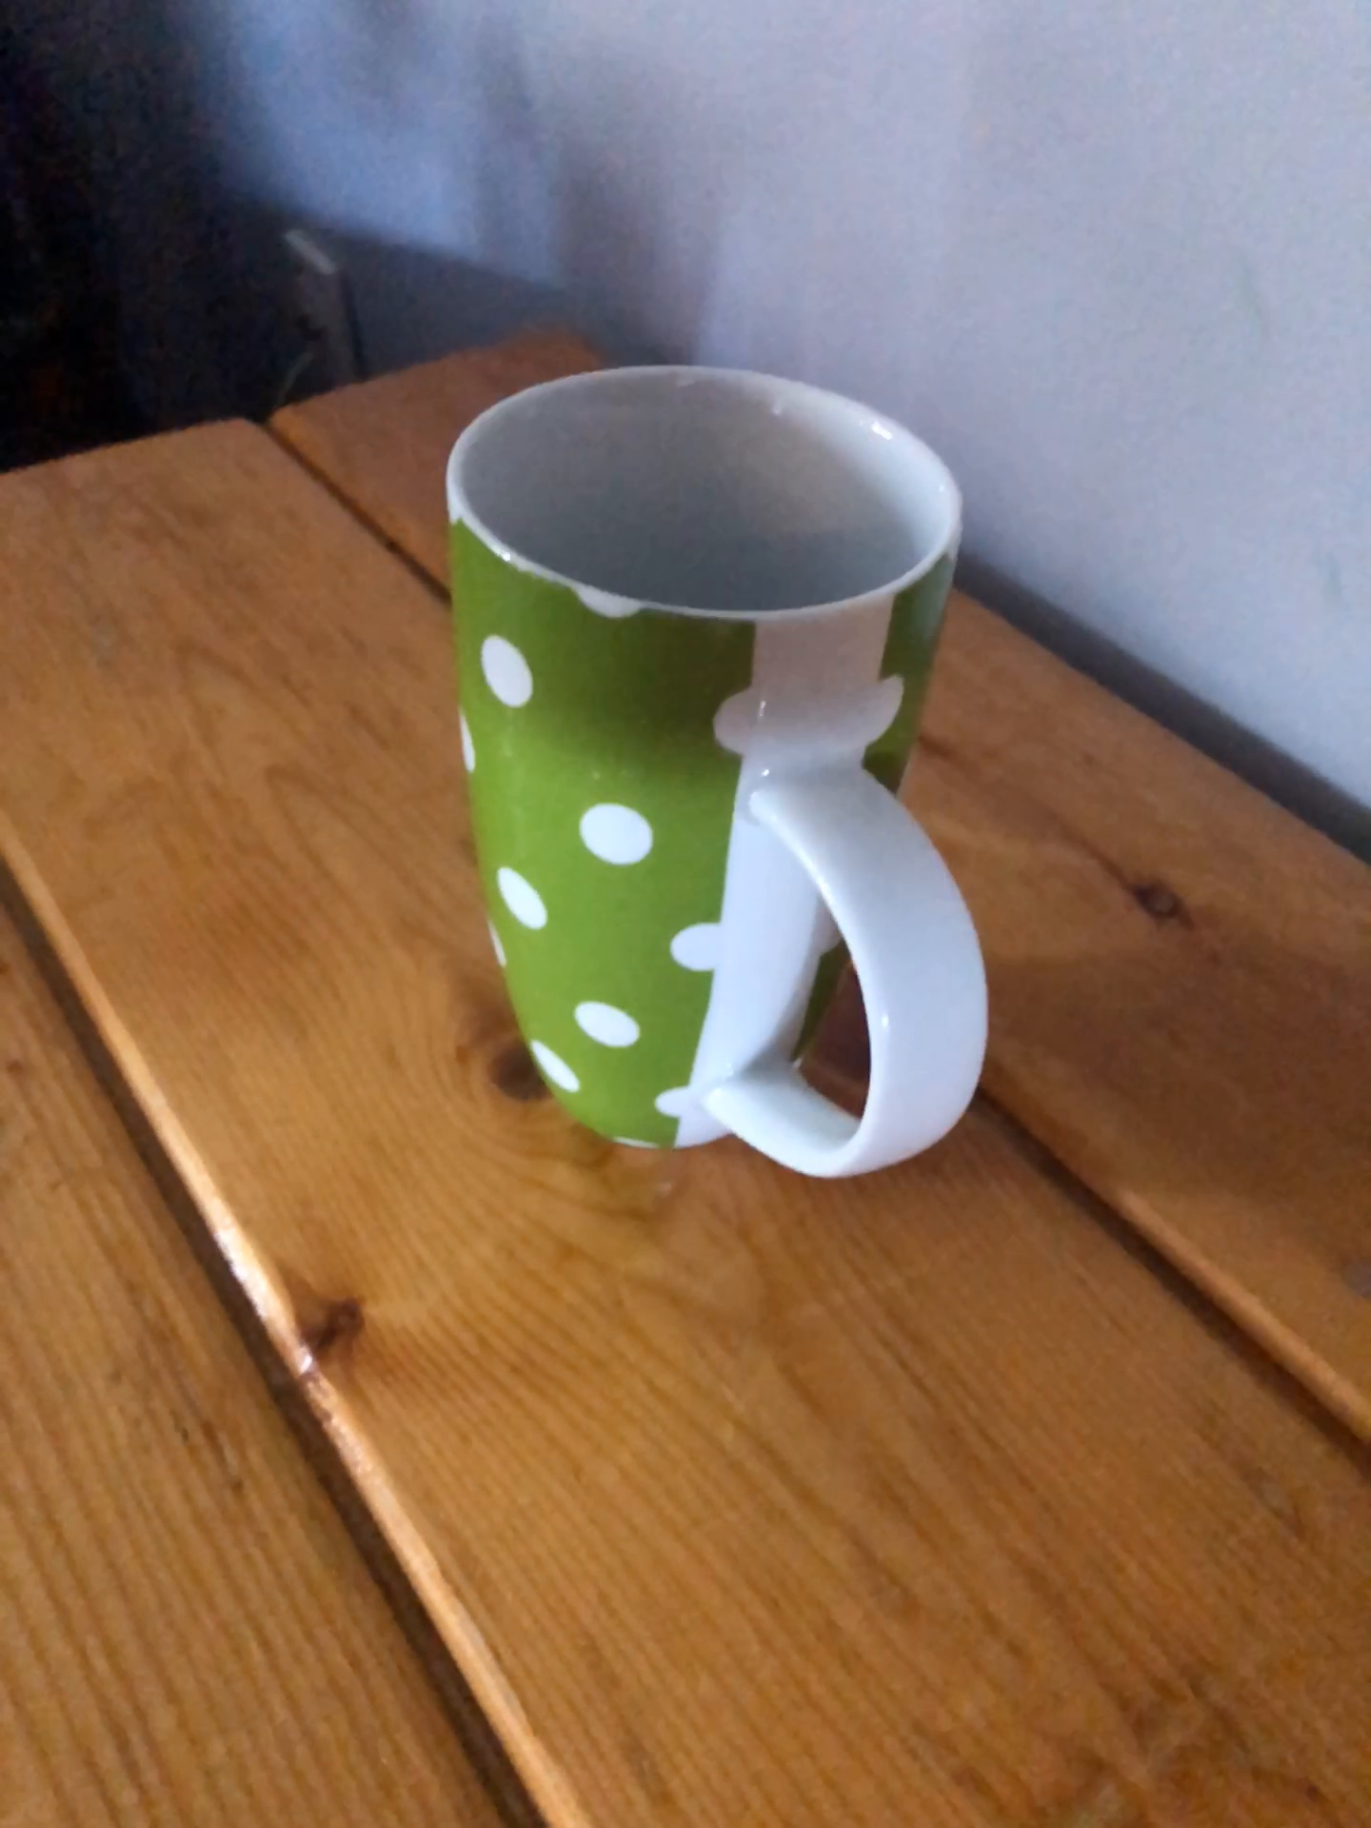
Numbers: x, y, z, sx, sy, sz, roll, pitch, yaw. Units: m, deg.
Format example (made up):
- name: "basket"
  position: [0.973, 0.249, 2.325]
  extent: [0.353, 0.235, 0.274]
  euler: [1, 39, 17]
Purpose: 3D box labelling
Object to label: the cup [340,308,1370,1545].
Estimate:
- name: "cup"
  position: [0.017, -0.003, 0.288]
  extent: [0.100, 0.150, 0.150]
  euler: [-19, 47, -19]
